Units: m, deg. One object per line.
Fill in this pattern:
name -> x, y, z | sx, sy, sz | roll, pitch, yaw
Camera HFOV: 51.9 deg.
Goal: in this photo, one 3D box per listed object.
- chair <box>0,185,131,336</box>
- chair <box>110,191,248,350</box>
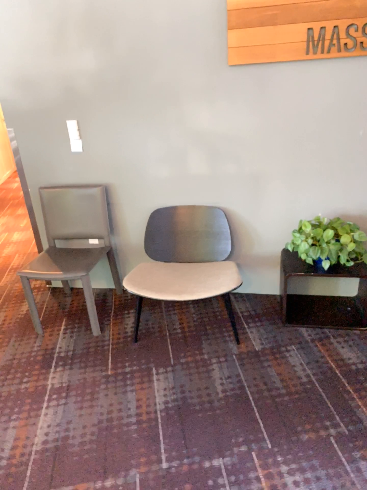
chair -> -0.824, 0.086, 2.705 | 0.640, 0.836, 0.693 | -1, 25, 8
chair -> 0.034, 0.151, 2.637 | 0.790, 0.836, 0.714 | -1, 25, 8
